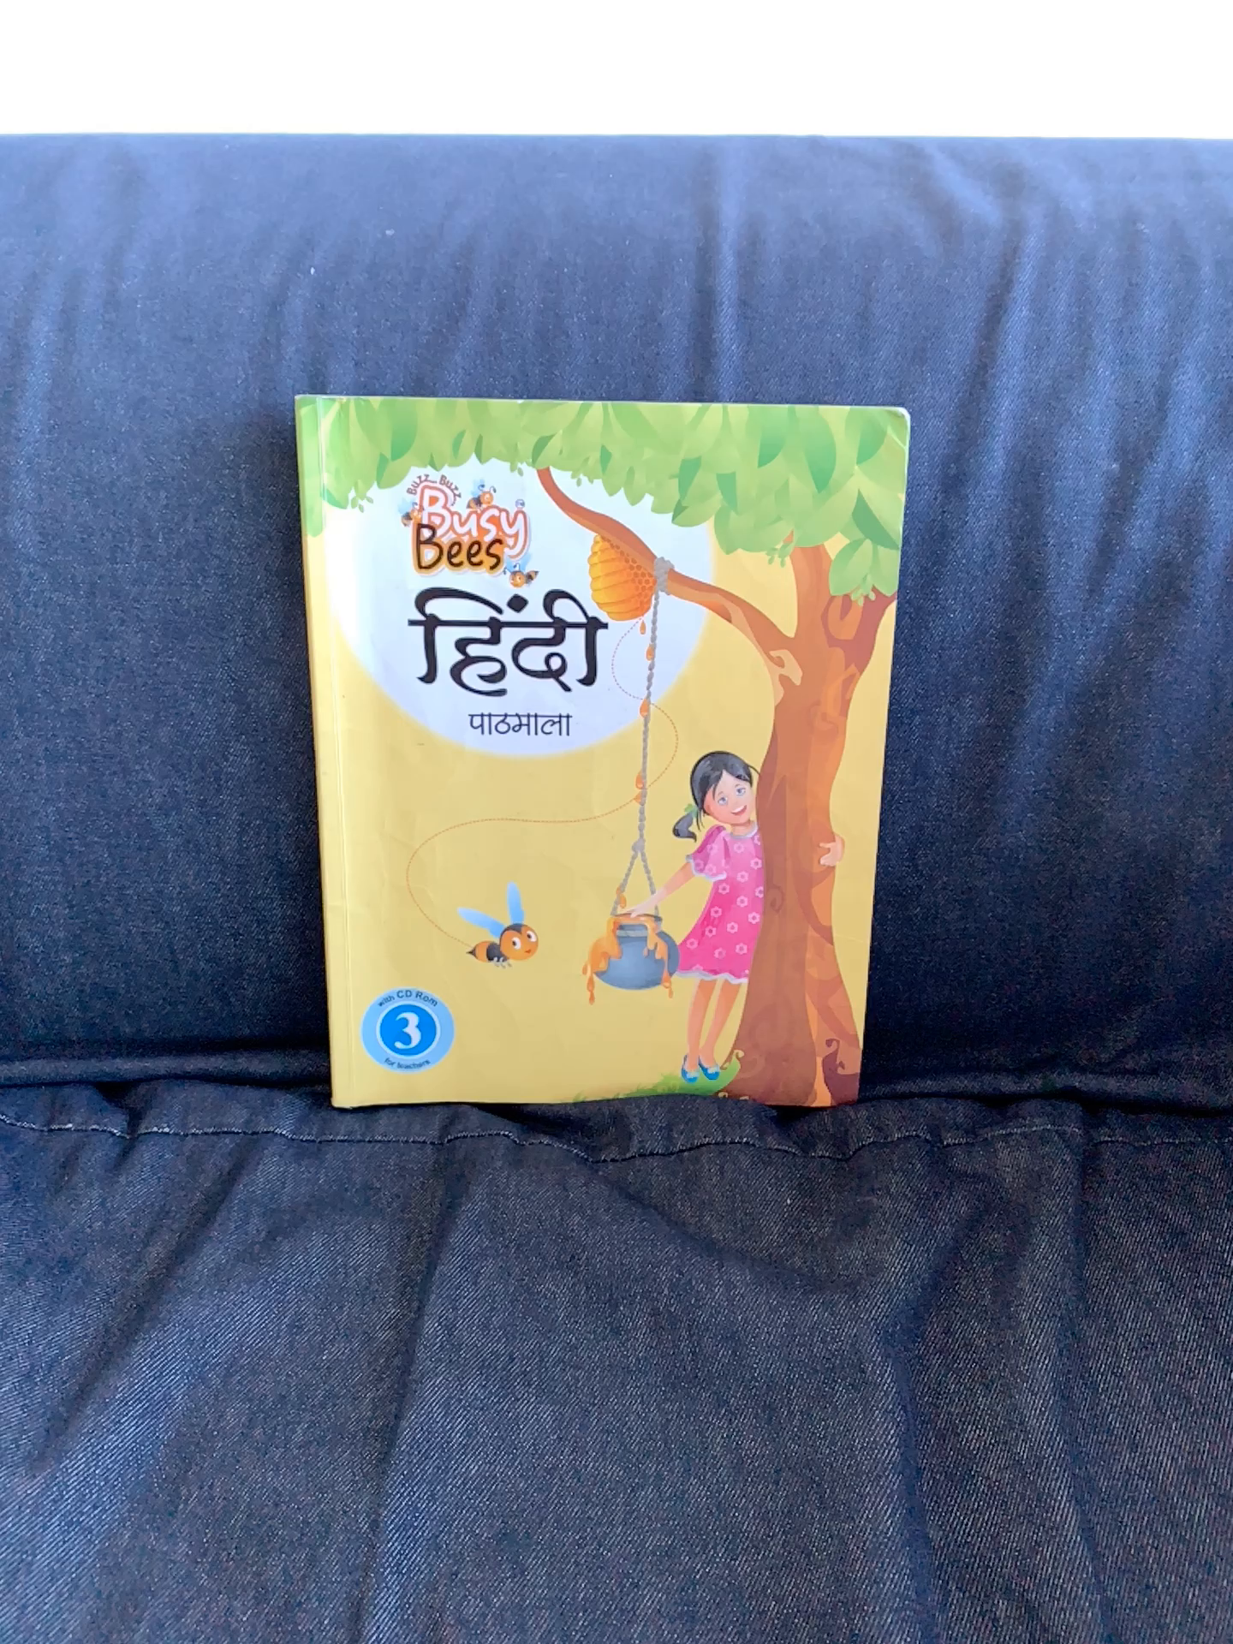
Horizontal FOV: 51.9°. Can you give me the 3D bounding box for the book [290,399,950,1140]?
[{"bbox_3d":[-0.001,-0.013,0.494,0.230,0.284,0.029,1,15,1],"label":"book"}]
